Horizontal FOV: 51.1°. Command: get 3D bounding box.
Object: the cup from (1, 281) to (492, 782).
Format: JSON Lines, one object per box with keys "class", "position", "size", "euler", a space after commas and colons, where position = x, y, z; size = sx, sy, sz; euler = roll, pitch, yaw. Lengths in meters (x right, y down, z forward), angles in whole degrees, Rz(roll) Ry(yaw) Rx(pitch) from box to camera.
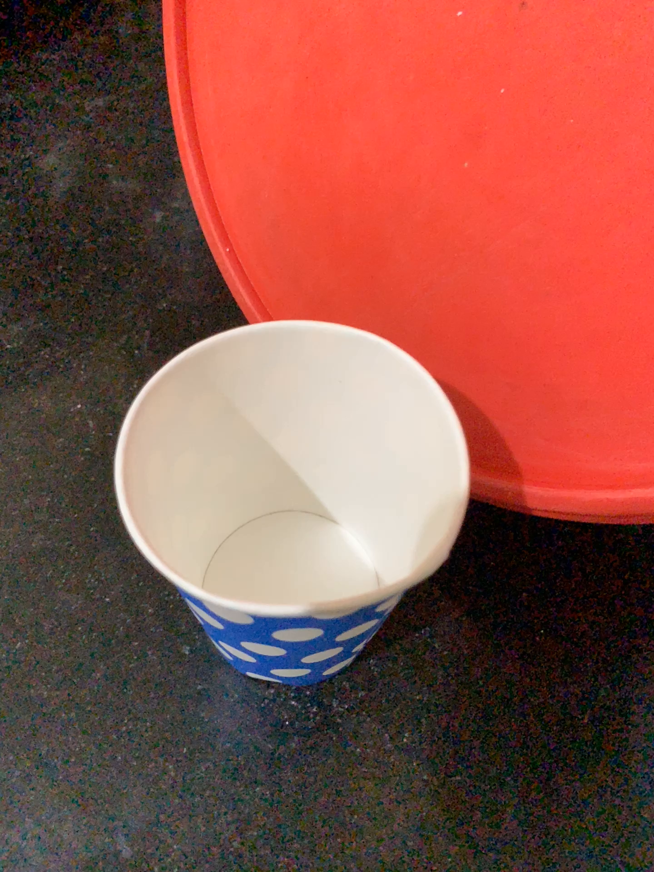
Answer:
{"class": "cup", "position": [-0.014, 0.025, 0.166], "size": [0.070, 0.079, 0.070], "euler": [2, 55, -3]}
